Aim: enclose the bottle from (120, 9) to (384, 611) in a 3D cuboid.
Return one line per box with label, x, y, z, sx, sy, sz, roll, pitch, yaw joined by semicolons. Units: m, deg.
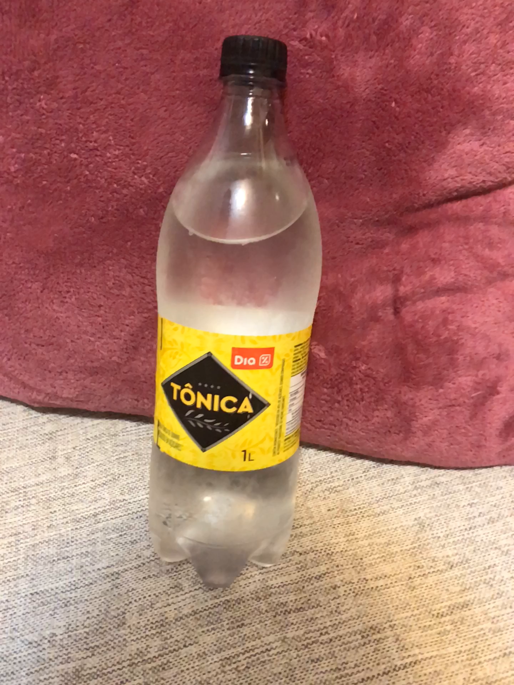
bottle;-0.005;-0.012;0.304;0.100;0.269;0.100;4;19;-2
